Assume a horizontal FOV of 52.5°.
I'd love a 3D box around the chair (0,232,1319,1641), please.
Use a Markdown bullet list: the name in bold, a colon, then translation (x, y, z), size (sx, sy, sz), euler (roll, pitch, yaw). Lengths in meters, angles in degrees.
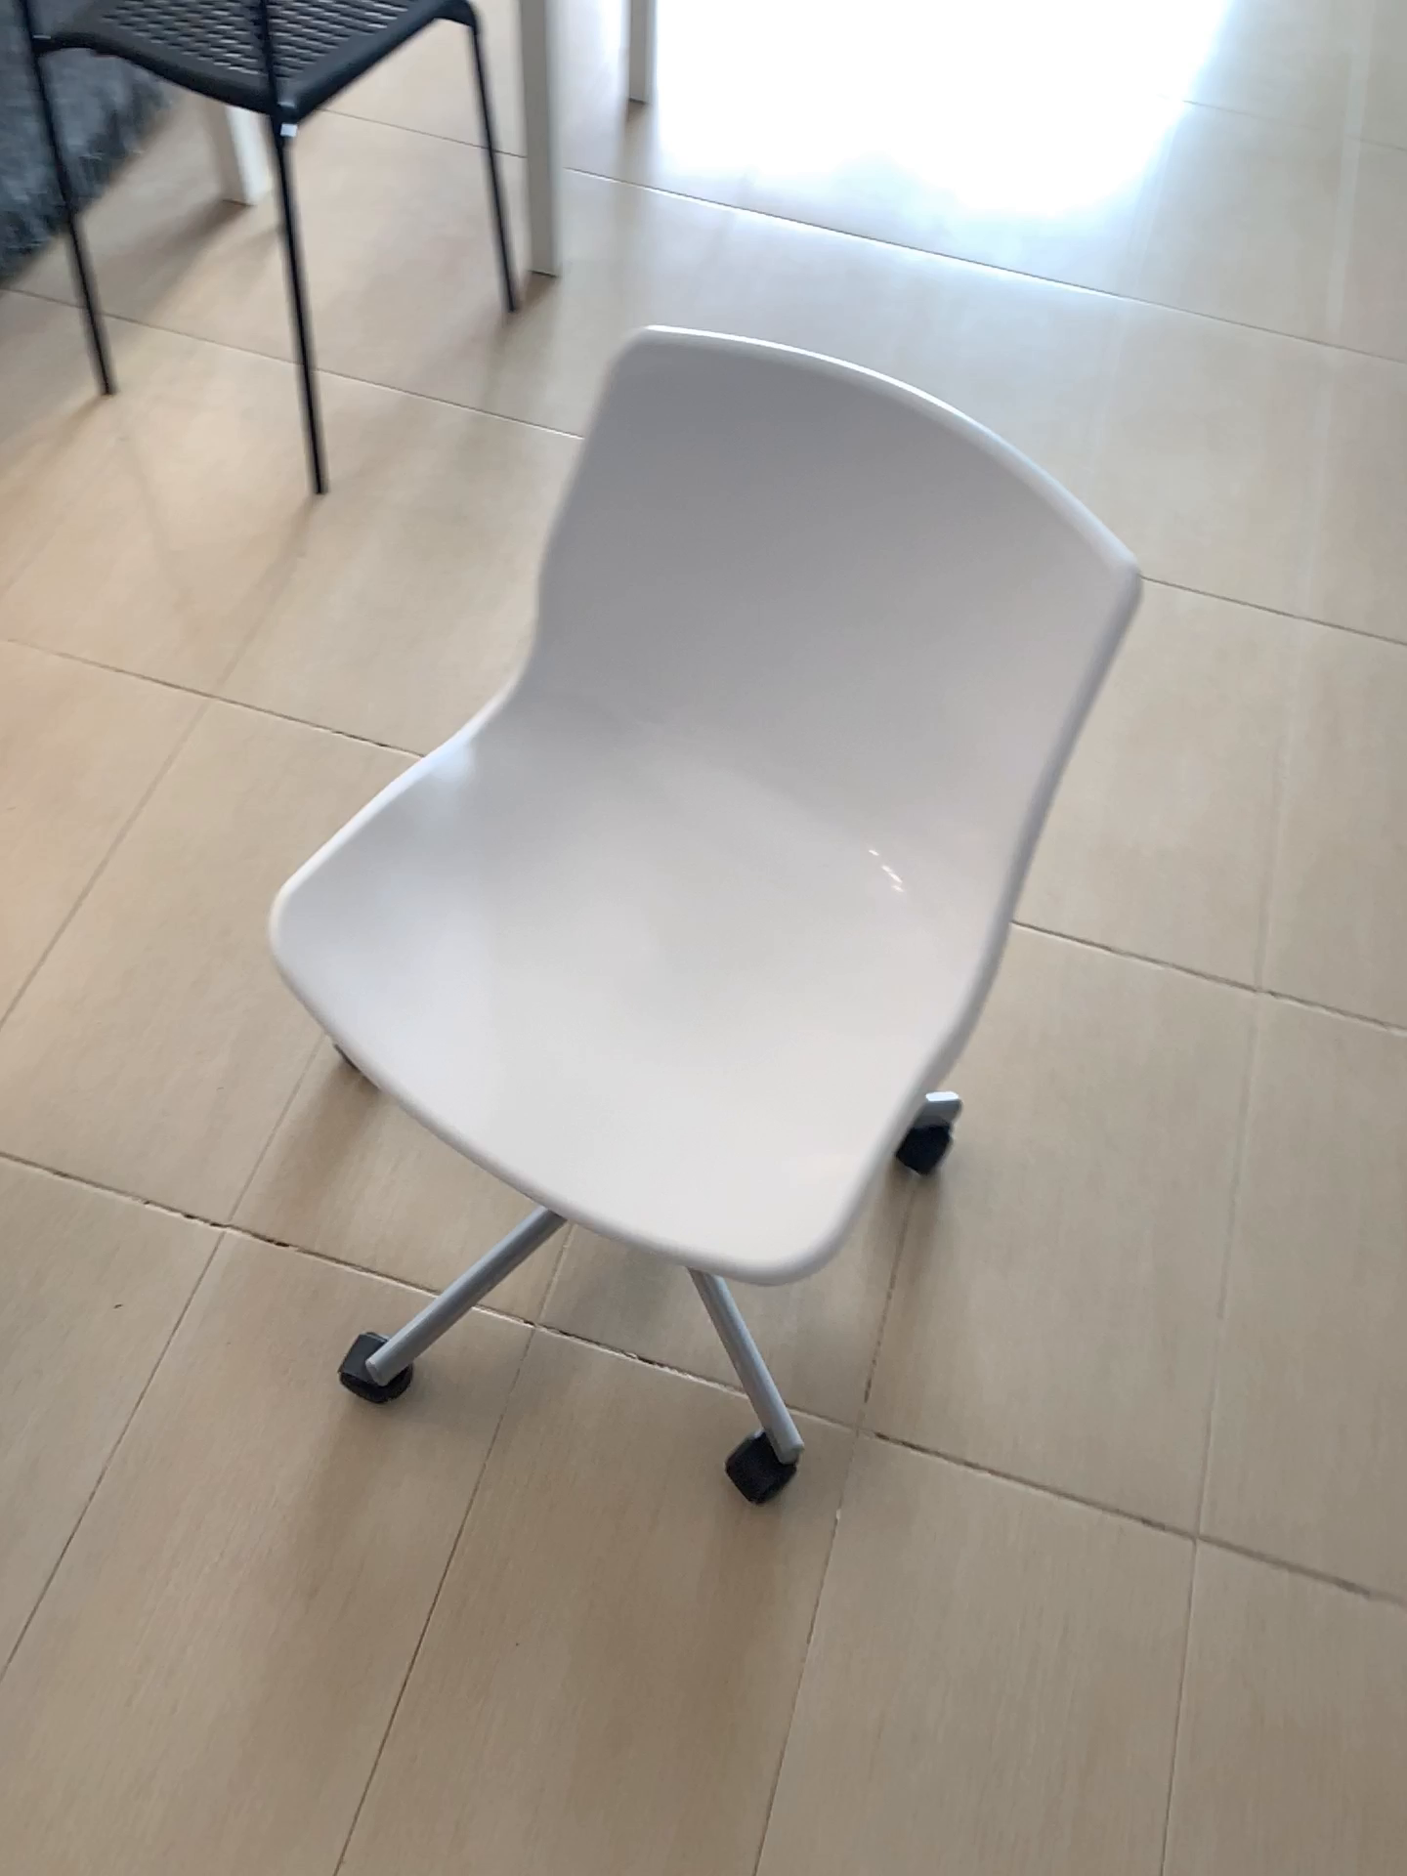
- **chair**: translation (-0.040, 0.010, 1.208), size (0.642, 0.647, 0.781), euler (28, 61, 12)
